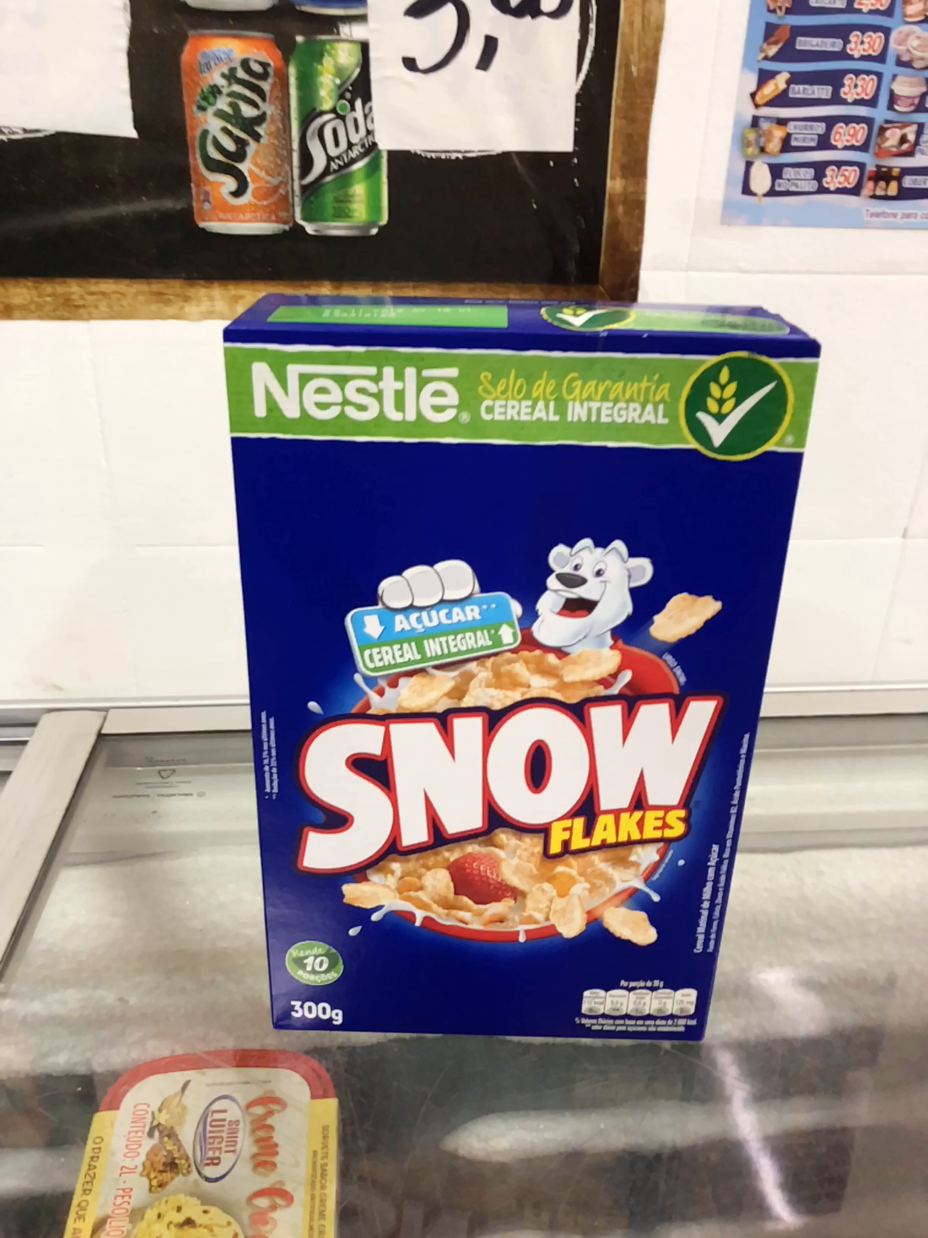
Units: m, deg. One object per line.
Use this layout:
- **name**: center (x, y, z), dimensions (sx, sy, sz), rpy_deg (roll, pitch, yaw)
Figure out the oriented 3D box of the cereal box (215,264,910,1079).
- **cereal box**: center (0.021, 0.026, 0.340), dimensions (0.170, 0.258, 0.071), rpy_deg (3, 26, 2)
